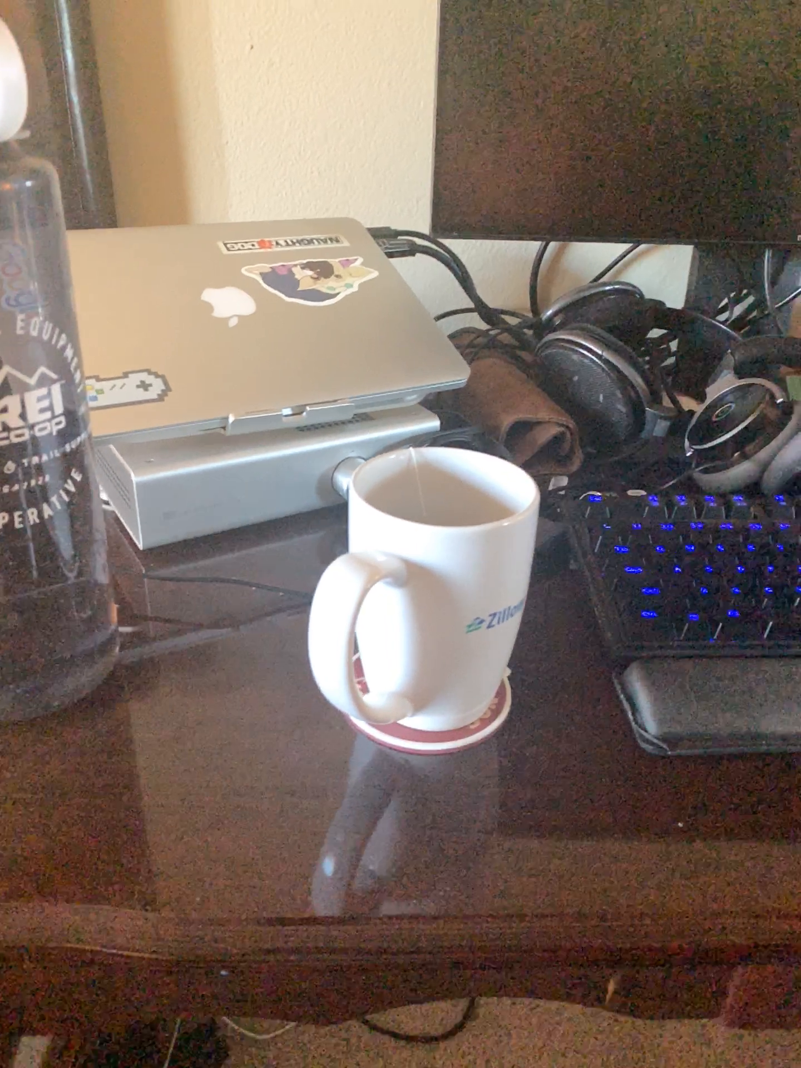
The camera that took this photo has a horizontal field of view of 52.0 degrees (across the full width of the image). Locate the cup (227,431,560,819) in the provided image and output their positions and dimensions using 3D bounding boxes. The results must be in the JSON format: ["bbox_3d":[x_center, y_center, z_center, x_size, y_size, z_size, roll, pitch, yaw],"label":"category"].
[{"bbox_3d":[0.003,0.031,0.373,0.100,0.099,0.131,13,31,18],"label":"cup"}]
